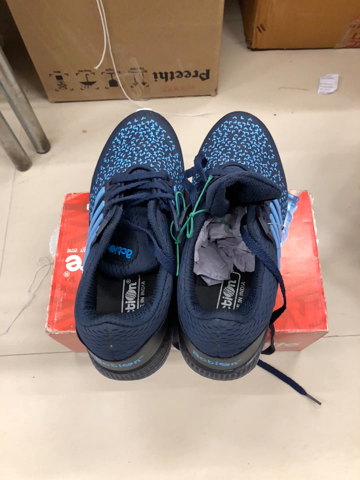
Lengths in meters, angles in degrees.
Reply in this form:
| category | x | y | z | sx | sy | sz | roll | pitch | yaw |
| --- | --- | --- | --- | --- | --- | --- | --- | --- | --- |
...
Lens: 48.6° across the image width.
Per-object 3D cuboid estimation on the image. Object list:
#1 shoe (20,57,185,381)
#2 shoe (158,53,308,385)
| category | x | y | z | sx | sy | sz | roll | pitch | yaw |
| --- | --- | --- | --- | --- | --- | --- | --- | --- | --- |
| shoe | -0.049 | -0.017 | 0.365 | 0.101 | 0.133 | 0.264 | -1 | 65 | 1 |
| shoe | 0.048 | -0.018 | 0.362 | 0.093 | 0.133 | 0.264 | 5 | 66 | 4 |
